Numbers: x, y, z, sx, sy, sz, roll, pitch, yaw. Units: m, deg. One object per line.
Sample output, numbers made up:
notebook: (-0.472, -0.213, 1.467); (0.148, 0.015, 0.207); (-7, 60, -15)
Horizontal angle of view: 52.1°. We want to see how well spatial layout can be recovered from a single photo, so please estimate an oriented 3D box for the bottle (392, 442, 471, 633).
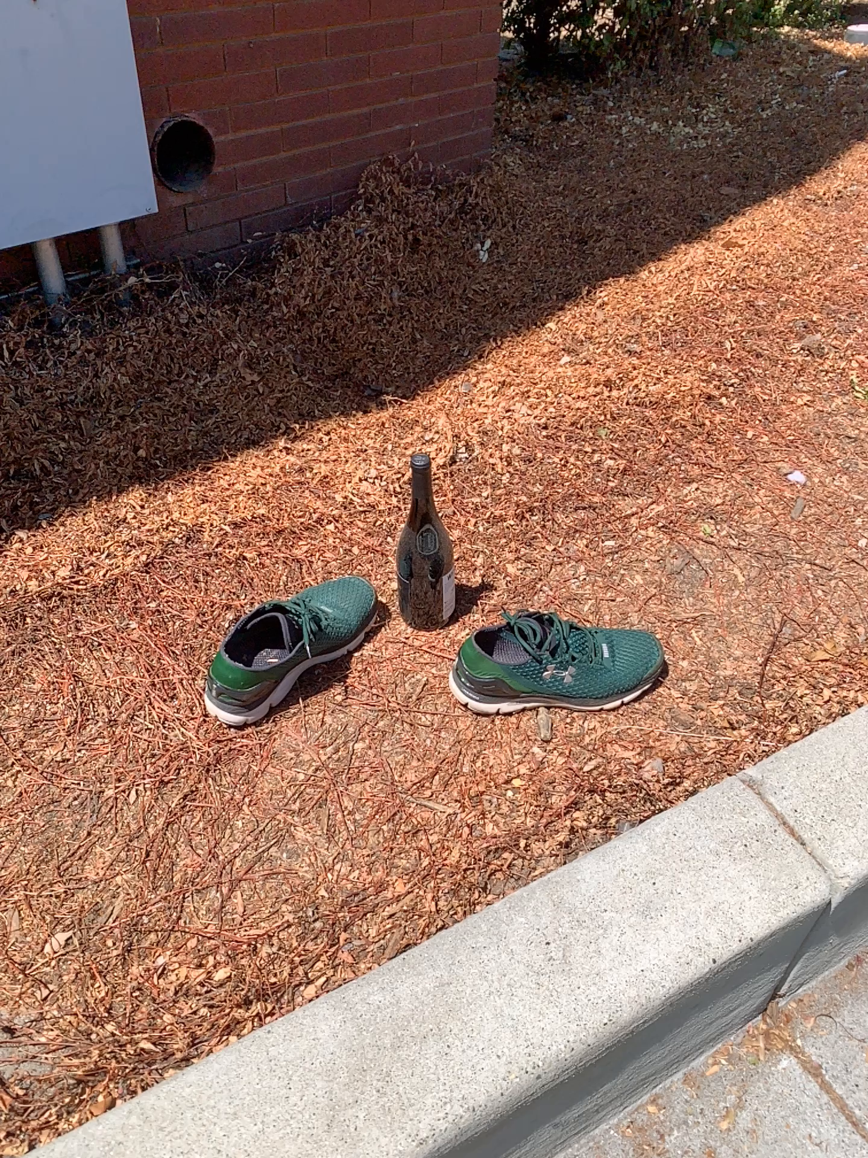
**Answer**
bottle: (-0.006, -0.052, 1.242); (0.090, 0.258, 0.091); (2, 41, -2)
